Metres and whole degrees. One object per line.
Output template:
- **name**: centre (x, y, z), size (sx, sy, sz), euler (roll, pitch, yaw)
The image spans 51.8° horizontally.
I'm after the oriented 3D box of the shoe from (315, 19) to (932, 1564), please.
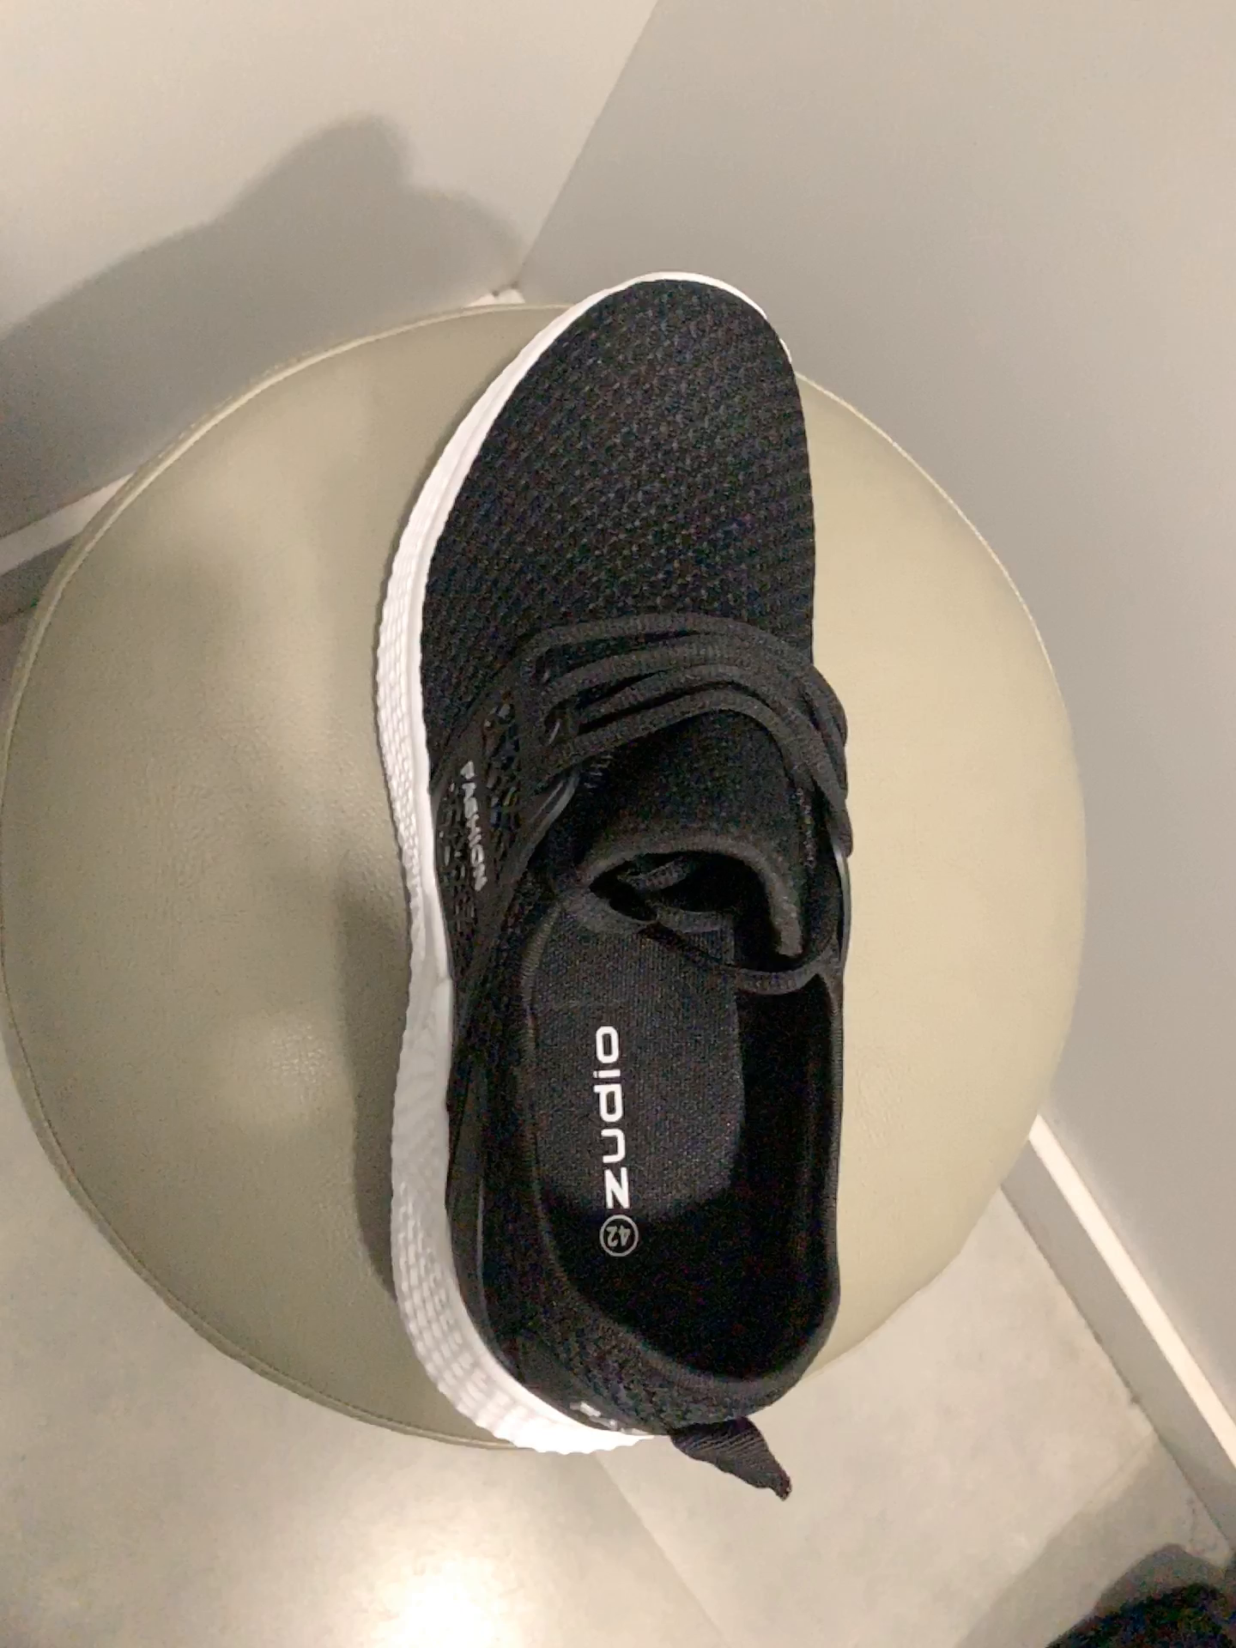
- **shoe**: centre (-0.003, -0.007, 0.304), size (0.100, 0.110, 0.290), euler (6, 82, -18)
